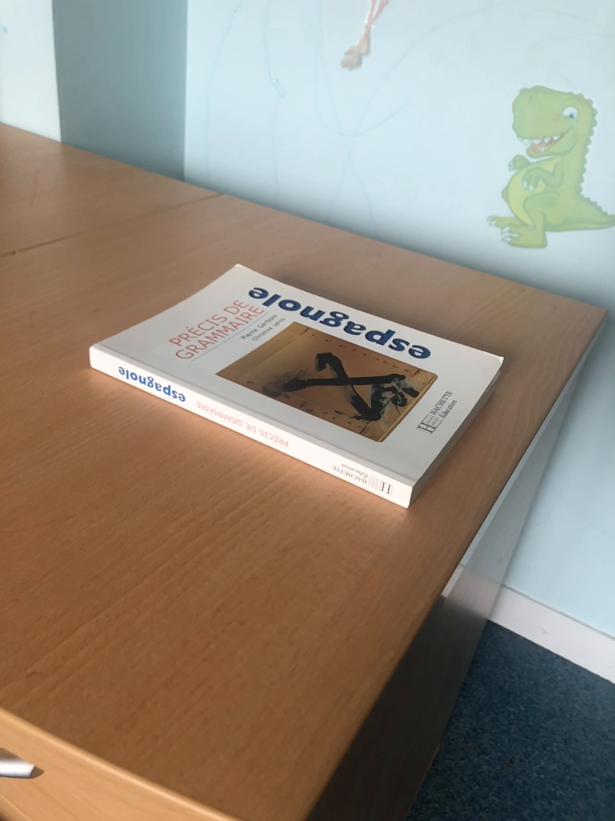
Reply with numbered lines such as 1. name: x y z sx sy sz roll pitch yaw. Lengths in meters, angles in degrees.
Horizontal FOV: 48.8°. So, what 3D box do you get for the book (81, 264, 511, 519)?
1. book: -0.001 -0.033 0.474 0.240 0.020 0.181 22 37 21
